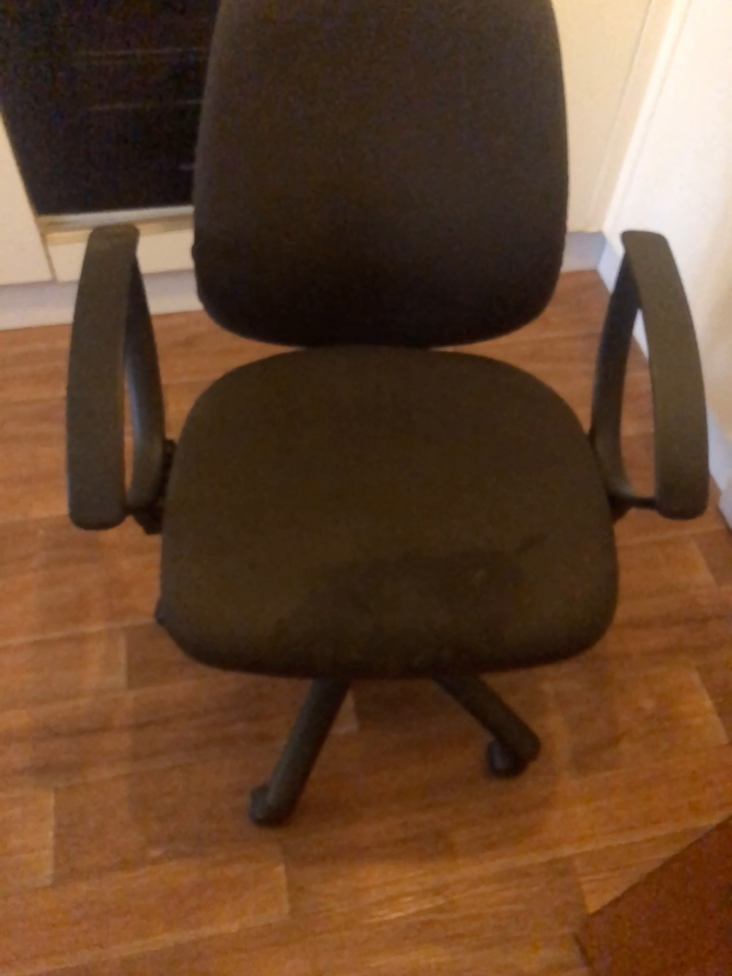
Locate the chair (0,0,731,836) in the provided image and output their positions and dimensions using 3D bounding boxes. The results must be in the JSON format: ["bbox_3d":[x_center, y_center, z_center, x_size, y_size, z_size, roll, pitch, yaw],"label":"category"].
[{"bbox_3d":[0.021,-0.048,0.949,0.673,0.816,0.655,2,53,-2],"label":"chair"}]
